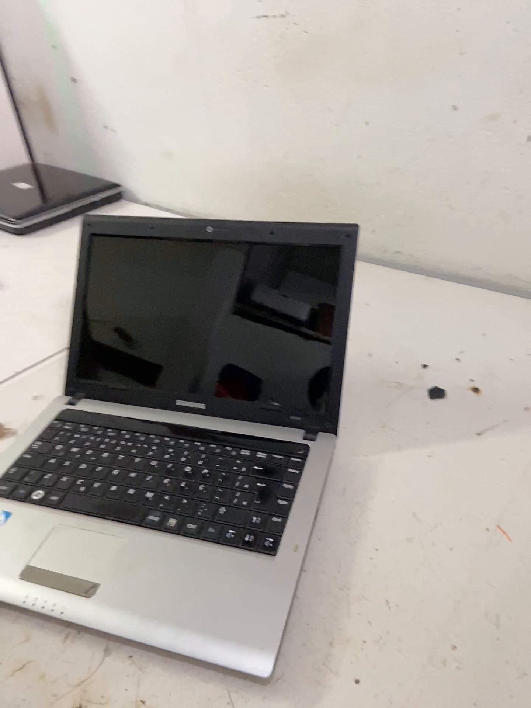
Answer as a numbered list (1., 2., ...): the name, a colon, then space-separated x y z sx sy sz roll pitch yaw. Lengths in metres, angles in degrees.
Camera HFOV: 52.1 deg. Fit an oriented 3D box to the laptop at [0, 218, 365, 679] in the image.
1. laptop: -0.108 0.027 0.503 0.334 0.172 0.364 6 36 17
